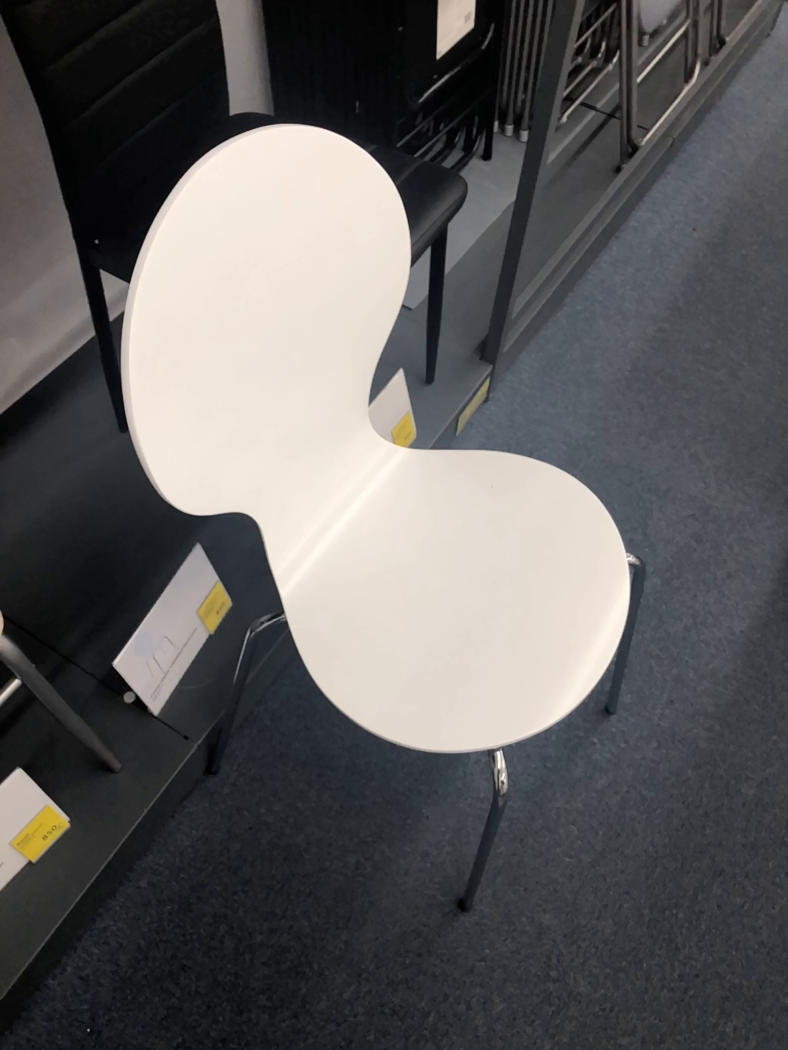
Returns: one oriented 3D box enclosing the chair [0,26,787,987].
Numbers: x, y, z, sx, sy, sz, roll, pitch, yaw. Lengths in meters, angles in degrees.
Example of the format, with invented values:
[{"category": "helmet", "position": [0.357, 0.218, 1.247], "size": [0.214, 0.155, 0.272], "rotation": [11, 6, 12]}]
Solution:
[{"category": "chair", "position": [0.037, 0.067, 1.035], "size": [0.540, 0.898, 0.561], "rotation": [33, 60, 17]}]
